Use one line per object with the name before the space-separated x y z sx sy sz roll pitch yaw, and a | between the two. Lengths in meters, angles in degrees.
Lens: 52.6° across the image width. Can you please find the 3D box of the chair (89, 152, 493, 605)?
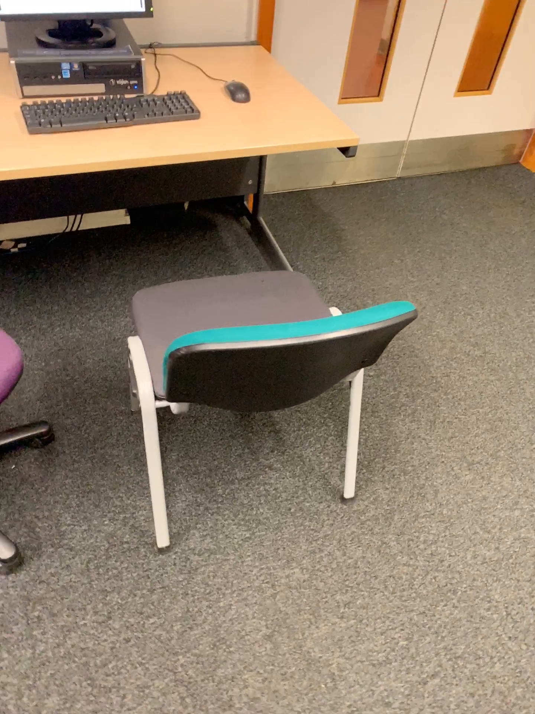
chair | -0.032 0.036 1.230 0.553 0.721 0.603 -11 47 -18

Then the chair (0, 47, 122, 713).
chair | -0.789 0.040 1.017 0.669 0.860 0.657 21 46 14
